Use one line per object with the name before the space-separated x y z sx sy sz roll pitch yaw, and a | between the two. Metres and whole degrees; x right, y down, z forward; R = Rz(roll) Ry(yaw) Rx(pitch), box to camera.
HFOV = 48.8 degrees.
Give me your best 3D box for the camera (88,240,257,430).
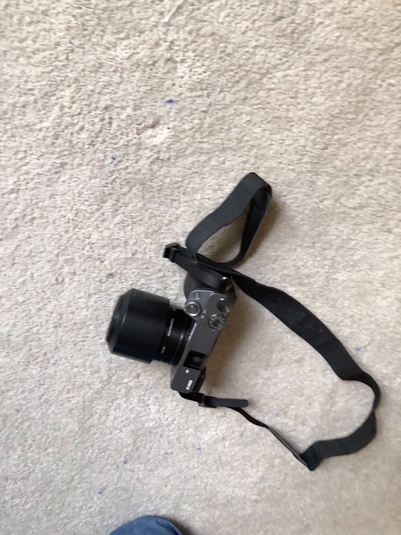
camera | -0.029 0.065 0.421 0.110 0.070 0.140 17 112 -10
